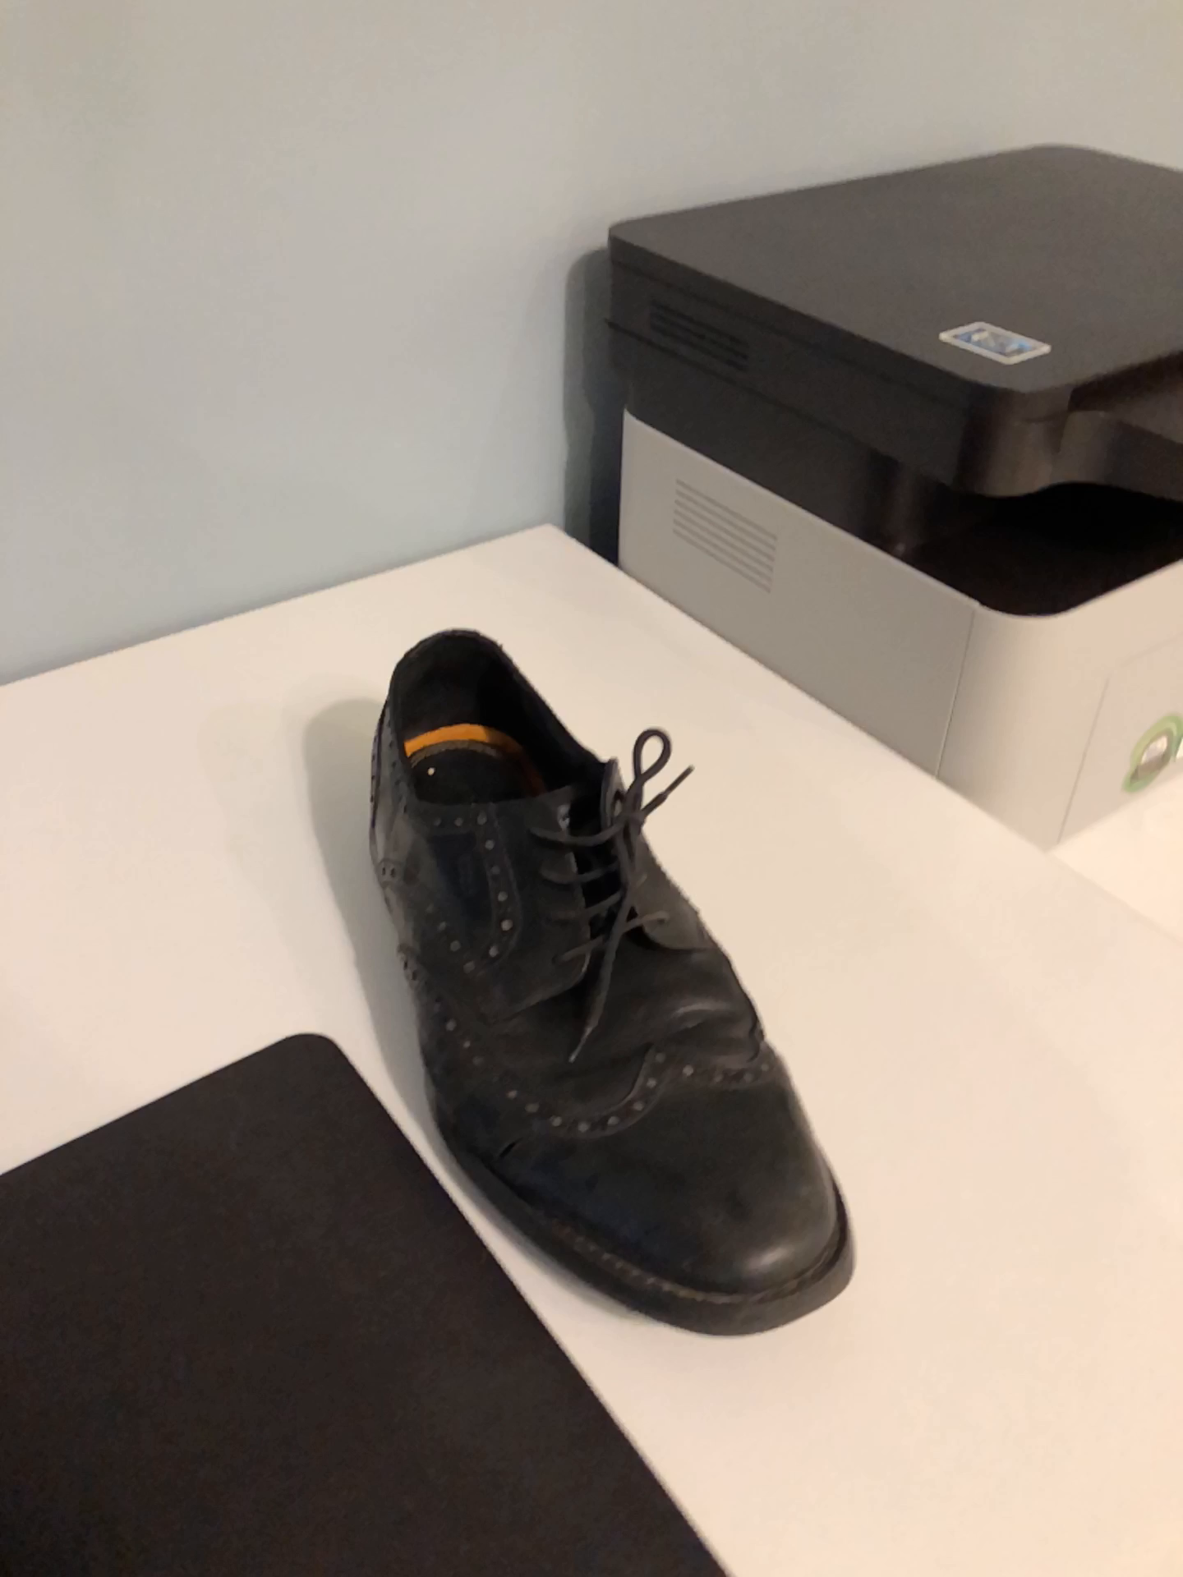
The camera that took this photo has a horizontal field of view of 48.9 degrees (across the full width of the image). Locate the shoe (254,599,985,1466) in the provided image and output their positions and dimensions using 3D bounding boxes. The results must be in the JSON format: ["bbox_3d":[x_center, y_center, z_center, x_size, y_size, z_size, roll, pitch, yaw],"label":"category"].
[{"bbox_3d":[-0.016,0.051,0.465,0.119,0.079,0.314,-15,41,-21],"label":"shoe"}]
